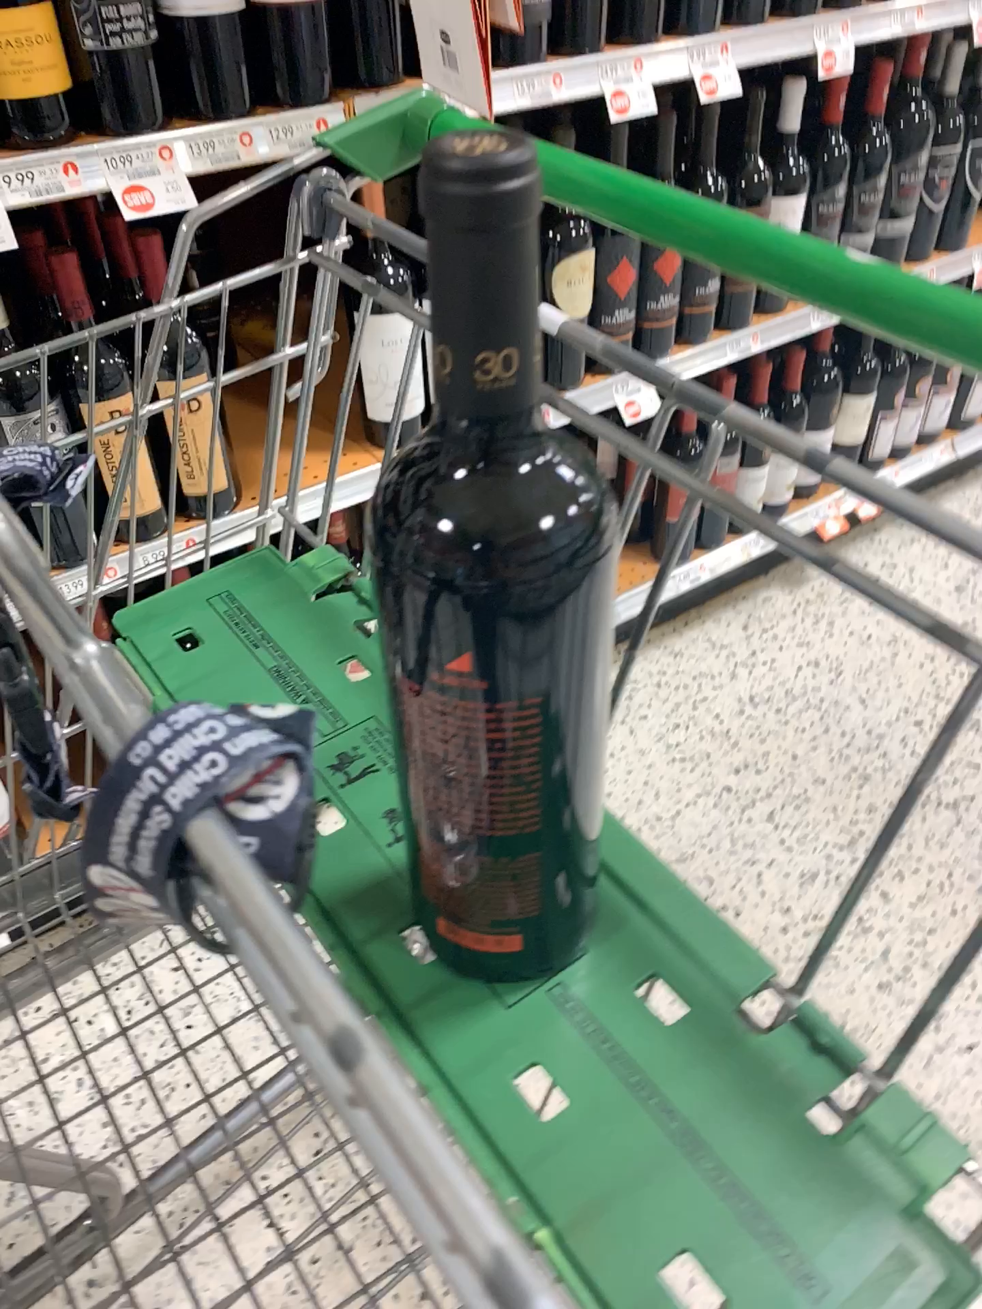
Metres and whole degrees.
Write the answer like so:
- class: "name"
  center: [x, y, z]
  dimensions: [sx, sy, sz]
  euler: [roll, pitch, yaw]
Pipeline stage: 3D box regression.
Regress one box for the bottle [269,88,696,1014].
- class: "bottle"
  center: [0.004, -0.005, 0.325]
  dimensions: [0.080, 0.297, 0.081]
  euler: [0, 41, 0]
